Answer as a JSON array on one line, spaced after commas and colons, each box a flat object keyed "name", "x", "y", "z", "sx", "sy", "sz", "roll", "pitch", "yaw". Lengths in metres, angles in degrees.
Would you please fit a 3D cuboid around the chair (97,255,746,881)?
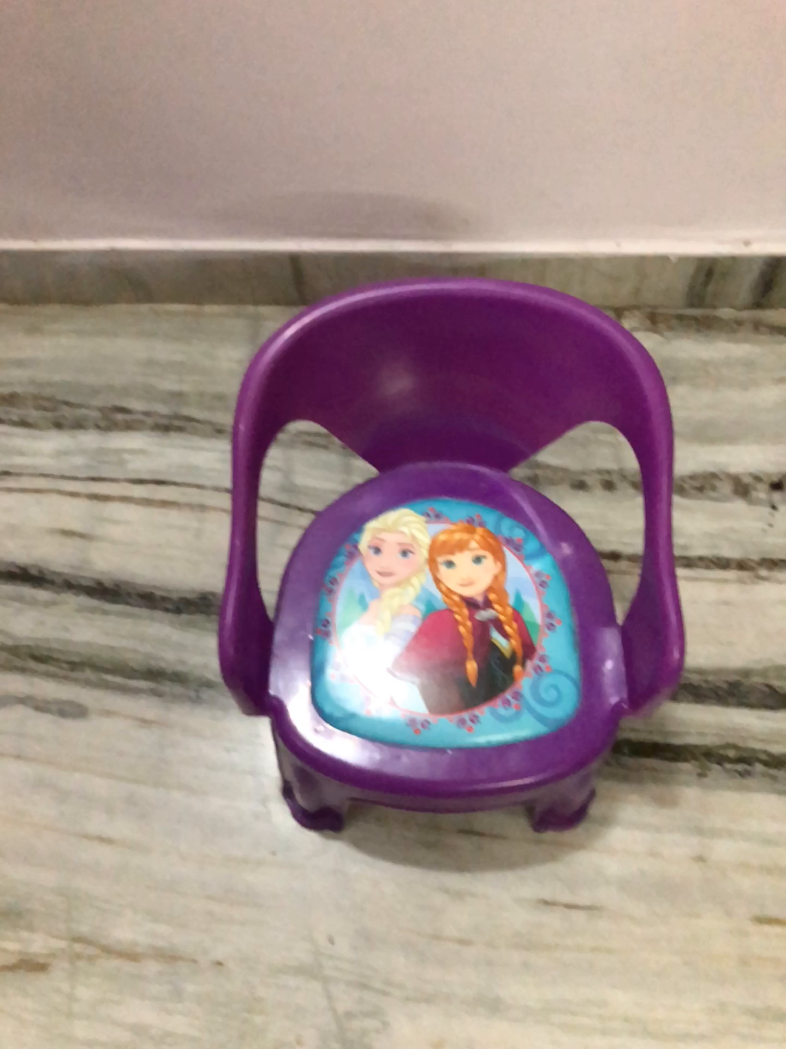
[{"name": "chair", "x": 0.028, "y": 0.060, "z": 0.710, "sx": 0.350, "sy": 0.349, "sz": 0.391, "roll": 3, "pitch": 65, "yaw": 2}]
